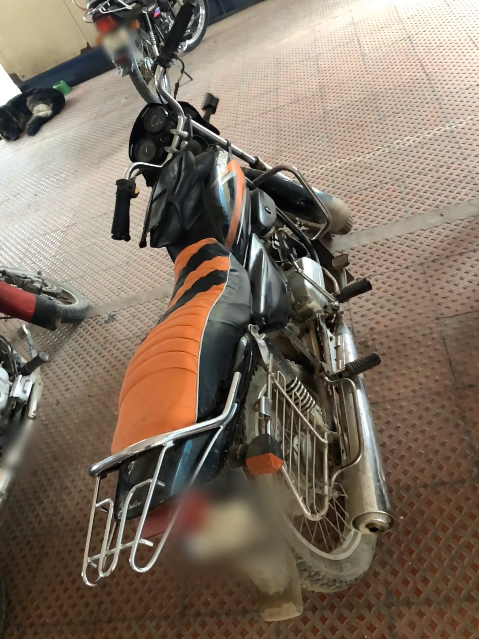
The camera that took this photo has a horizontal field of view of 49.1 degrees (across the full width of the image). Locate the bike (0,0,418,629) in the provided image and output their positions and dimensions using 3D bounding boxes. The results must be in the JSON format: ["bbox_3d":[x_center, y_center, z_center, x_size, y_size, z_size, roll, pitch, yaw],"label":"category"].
[{"bbox_3d":[-0.129,-0.054,1.530,0.688,1.123,1.409,-18,42,14],"label":"bike"}]
